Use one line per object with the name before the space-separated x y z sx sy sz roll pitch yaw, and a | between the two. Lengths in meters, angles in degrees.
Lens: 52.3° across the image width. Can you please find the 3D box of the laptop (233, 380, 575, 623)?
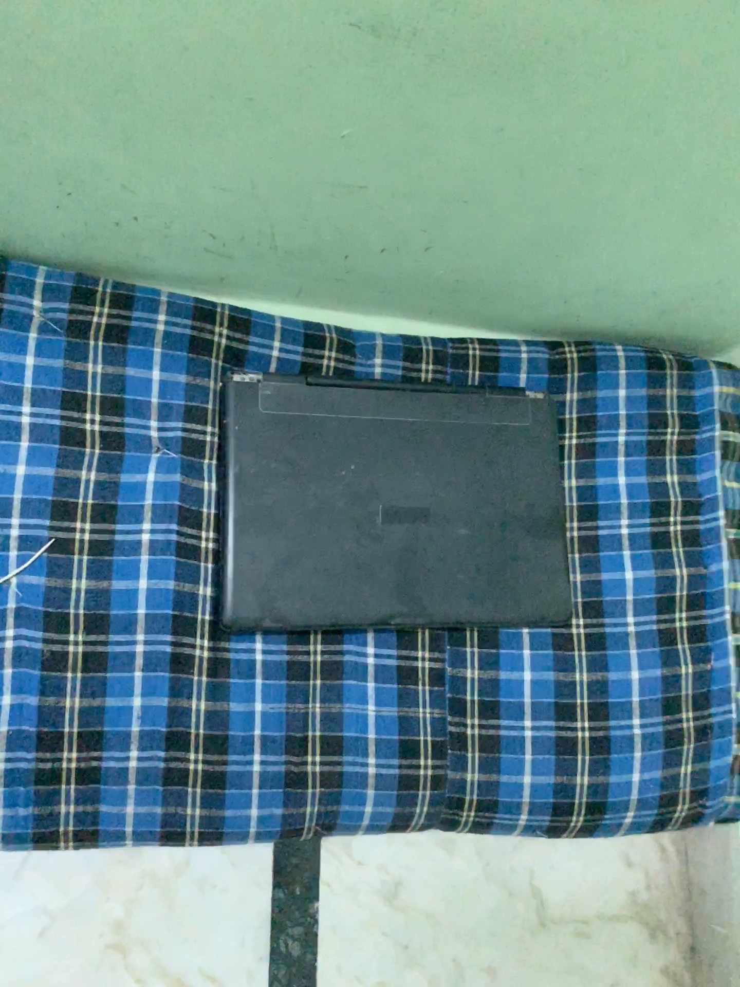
laptop | 0.037 0.008 0.703 0.323 0.005 0.216 1 79 -15
